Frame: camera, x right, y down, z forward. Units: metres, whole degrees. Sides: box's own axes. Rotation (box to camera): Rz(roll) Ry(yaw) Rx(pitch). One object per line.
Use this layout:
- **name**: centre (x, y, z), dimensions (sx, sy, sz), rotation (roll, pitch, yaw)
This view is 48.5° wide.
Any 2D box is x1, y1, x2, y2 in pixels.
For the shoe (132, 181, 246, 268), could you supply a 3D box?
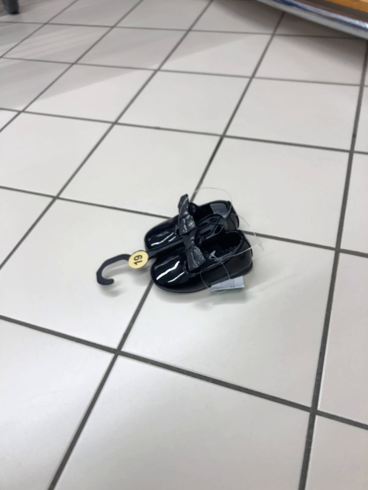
- **shoe**: centre (0.007, -0.026, 0.503), dimensions (0.125, 0.052, 0.061), rotation (-13, 48, -5)

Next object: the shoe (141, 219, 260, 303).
- **shoe**: centre (0.018, 0.017, 0.471), dimensions (0.123, 0.037, 0.061), rotation (-13, 48, -5)
